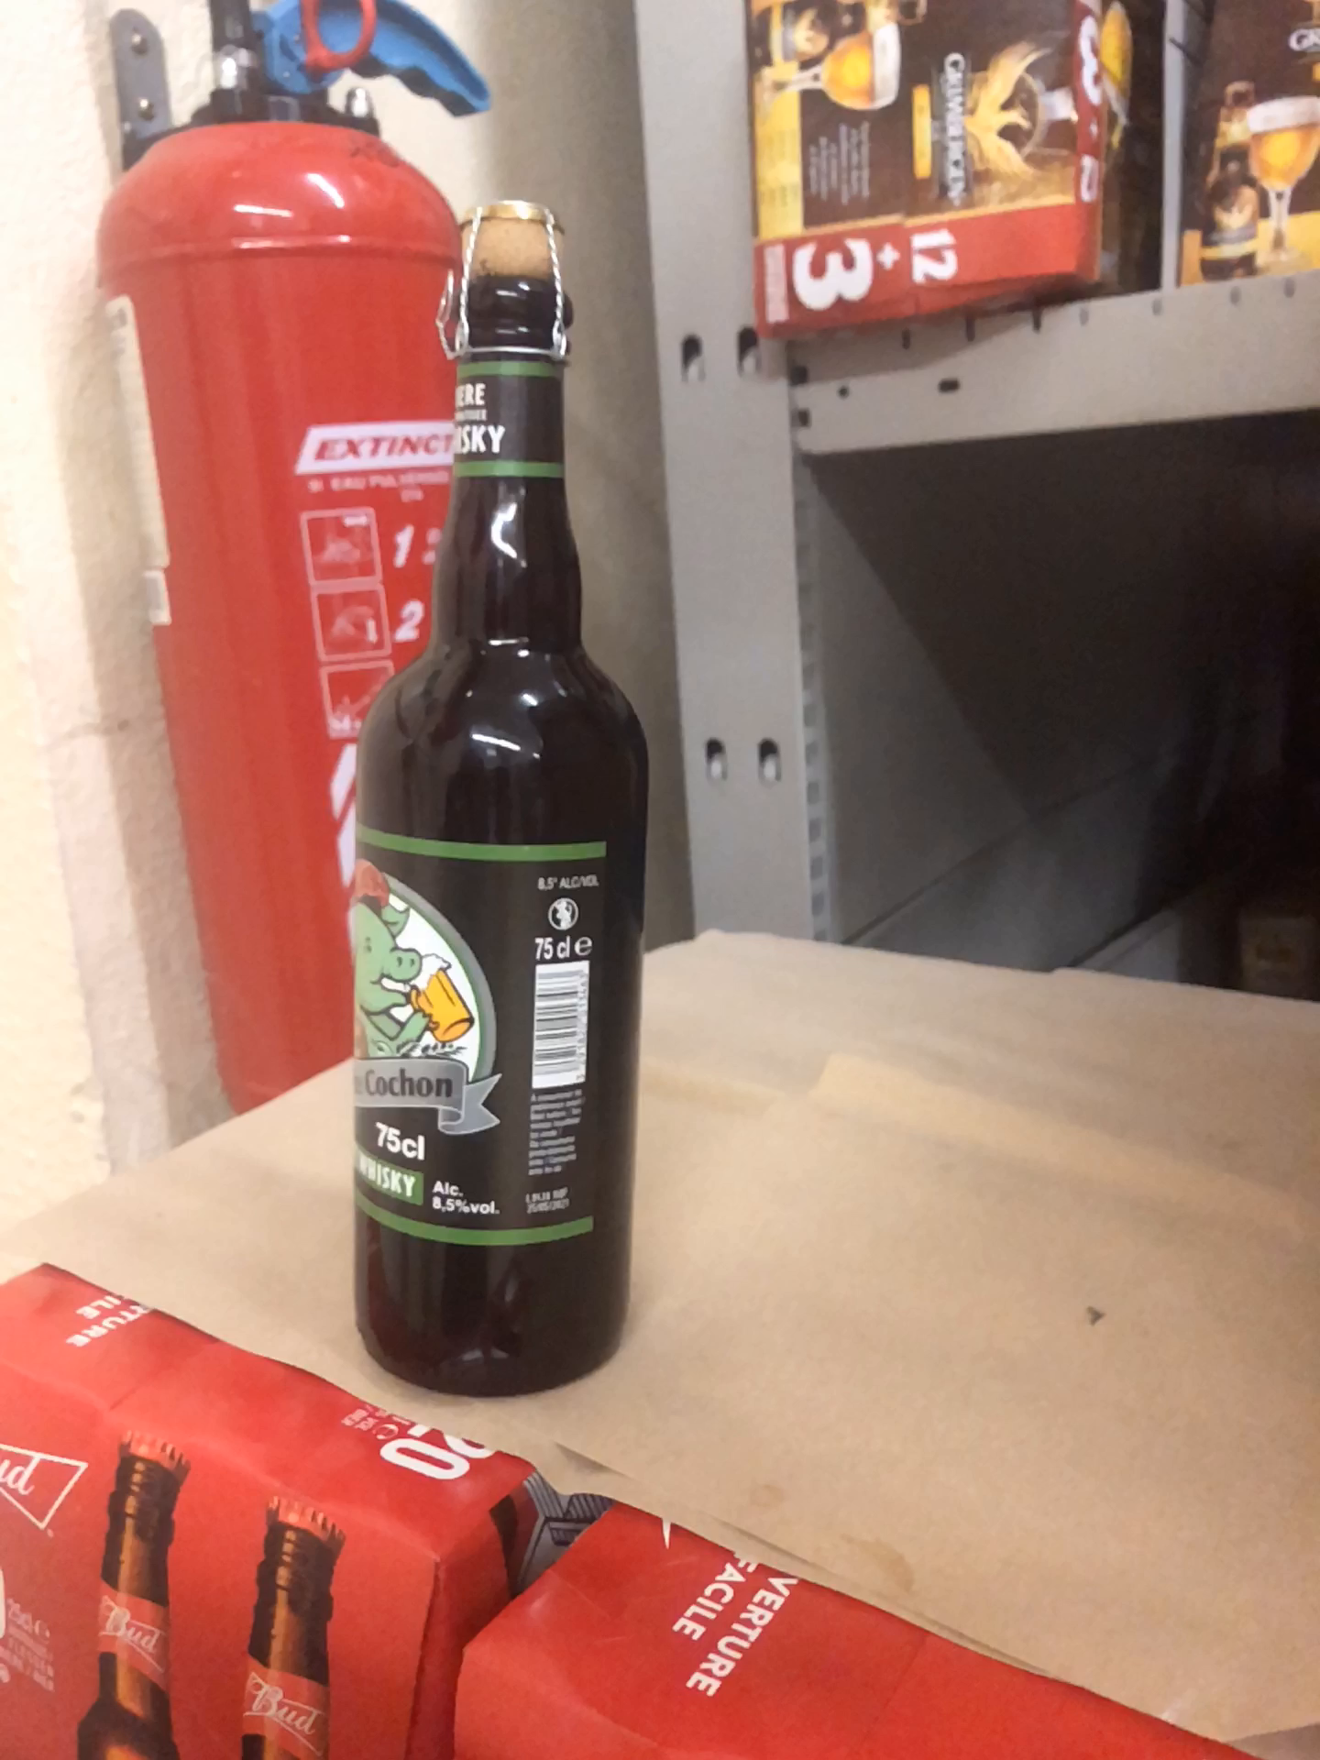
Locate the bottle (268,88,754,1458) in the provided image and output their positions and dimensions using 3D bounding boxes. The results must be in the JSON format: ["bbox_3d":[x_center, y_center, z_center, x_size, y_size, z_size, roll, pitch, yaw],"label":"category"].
[{"bbox_3d":[-0.041,-0.023,0.379,0.090,0.299,0.080,9,11,44],"label":"bottle"}]
